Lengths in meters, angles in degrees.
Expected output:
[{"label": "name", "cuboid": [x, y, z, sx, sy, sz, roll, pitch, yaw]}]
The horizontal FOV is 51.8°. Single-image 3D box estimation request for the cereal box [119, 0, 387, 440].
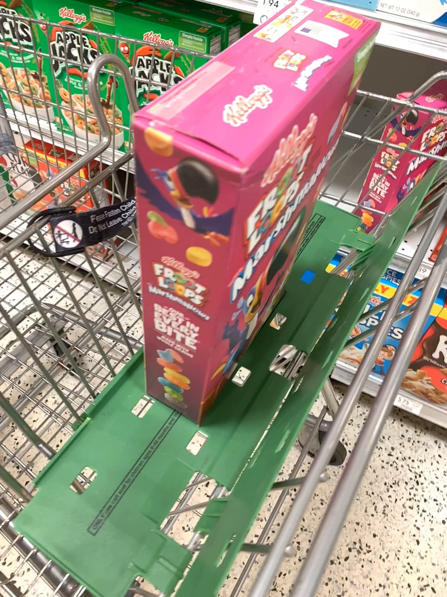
[{"label": "cereal box", "cuboid": [0.014, -0.041, 0.359, 0.060, 0.287, 0.202, 28, 54, 12]}]
